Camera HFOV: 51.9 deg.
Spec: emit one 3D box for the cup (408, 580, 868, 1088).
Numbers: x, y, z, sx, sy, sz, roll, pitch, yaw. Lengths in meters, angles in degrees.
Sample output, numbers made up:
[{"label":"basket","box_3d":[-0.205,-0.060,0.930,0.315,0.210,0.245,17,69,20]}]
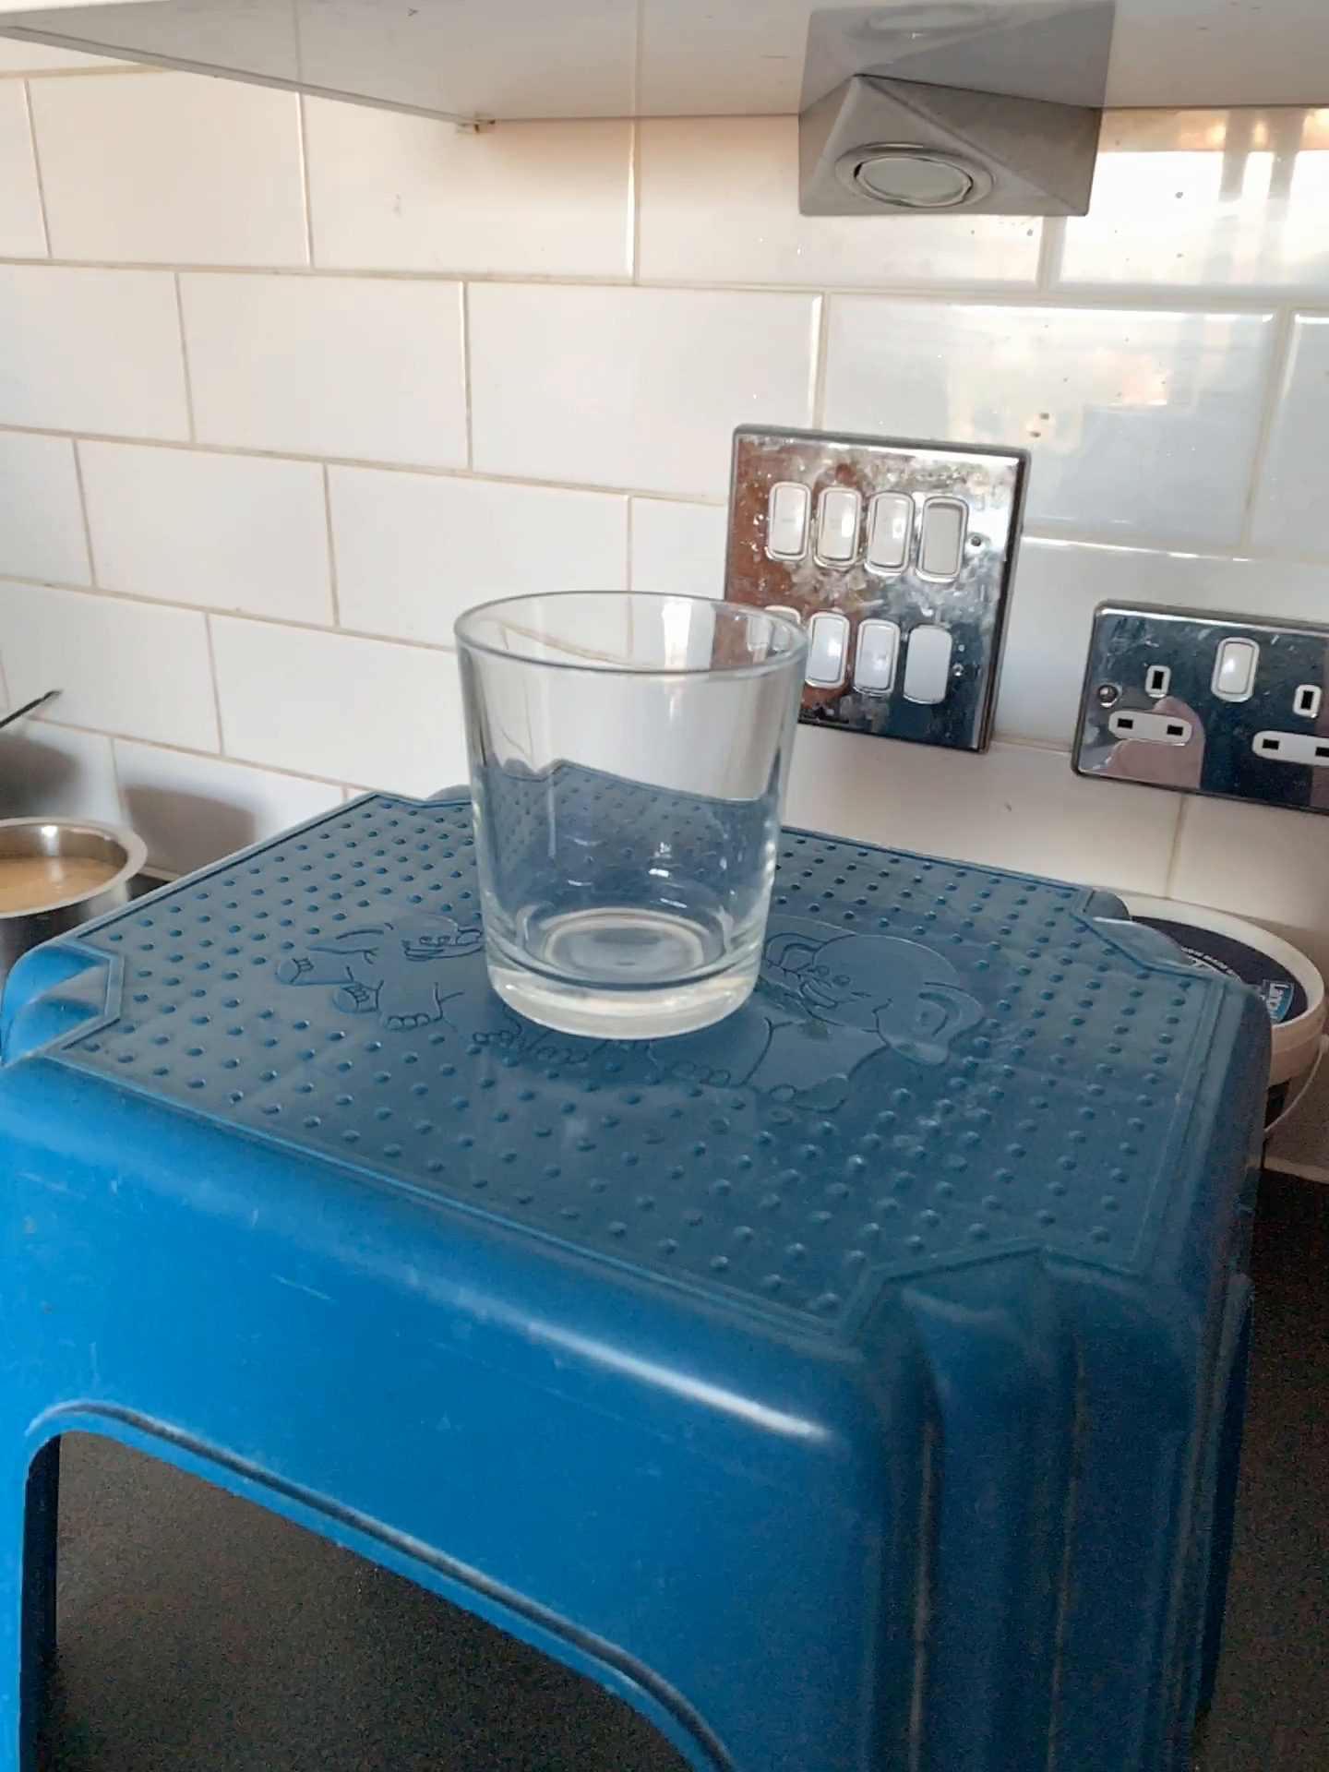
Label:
[{"label":"cup","box_3d":[-0.008,-0.018,0.314,0.067,0.085,0.077,-19,31,-39]}]
